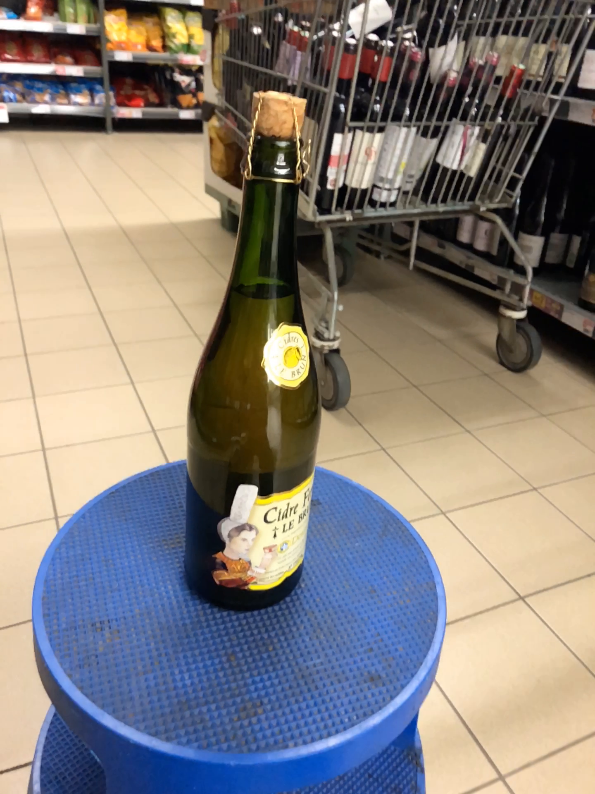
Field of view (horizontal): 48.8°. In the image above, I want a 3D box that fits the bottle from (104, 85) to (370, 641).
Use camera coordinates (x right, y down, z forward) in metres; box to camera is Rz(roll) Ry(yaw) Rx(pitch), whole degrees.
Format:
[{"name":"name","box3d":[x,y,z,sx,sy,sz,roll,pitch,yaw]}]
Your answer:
[{"name":"bottle","box3d":[-0.036,-0.013,0.383,0.090,0.298,0.091,3,29,-2]}]
